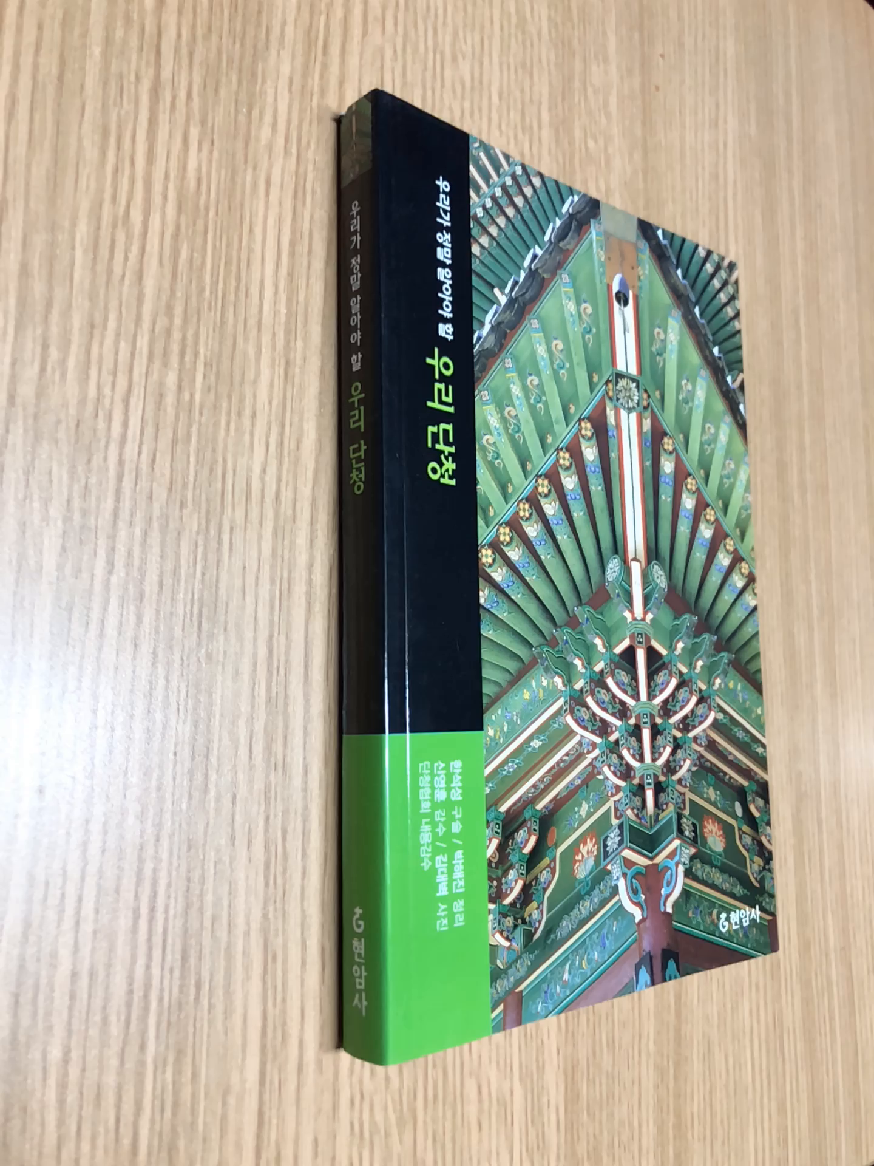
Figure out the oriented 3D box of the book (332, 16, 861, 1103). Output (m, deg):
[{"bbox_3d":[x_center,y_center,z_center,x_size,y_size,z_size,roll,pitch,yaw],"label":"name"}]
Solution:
[{"bbox_3d":[0.048,-0.005,0.249,0.161,0.030,0.210,6,80,-40],"label":"book"}]
